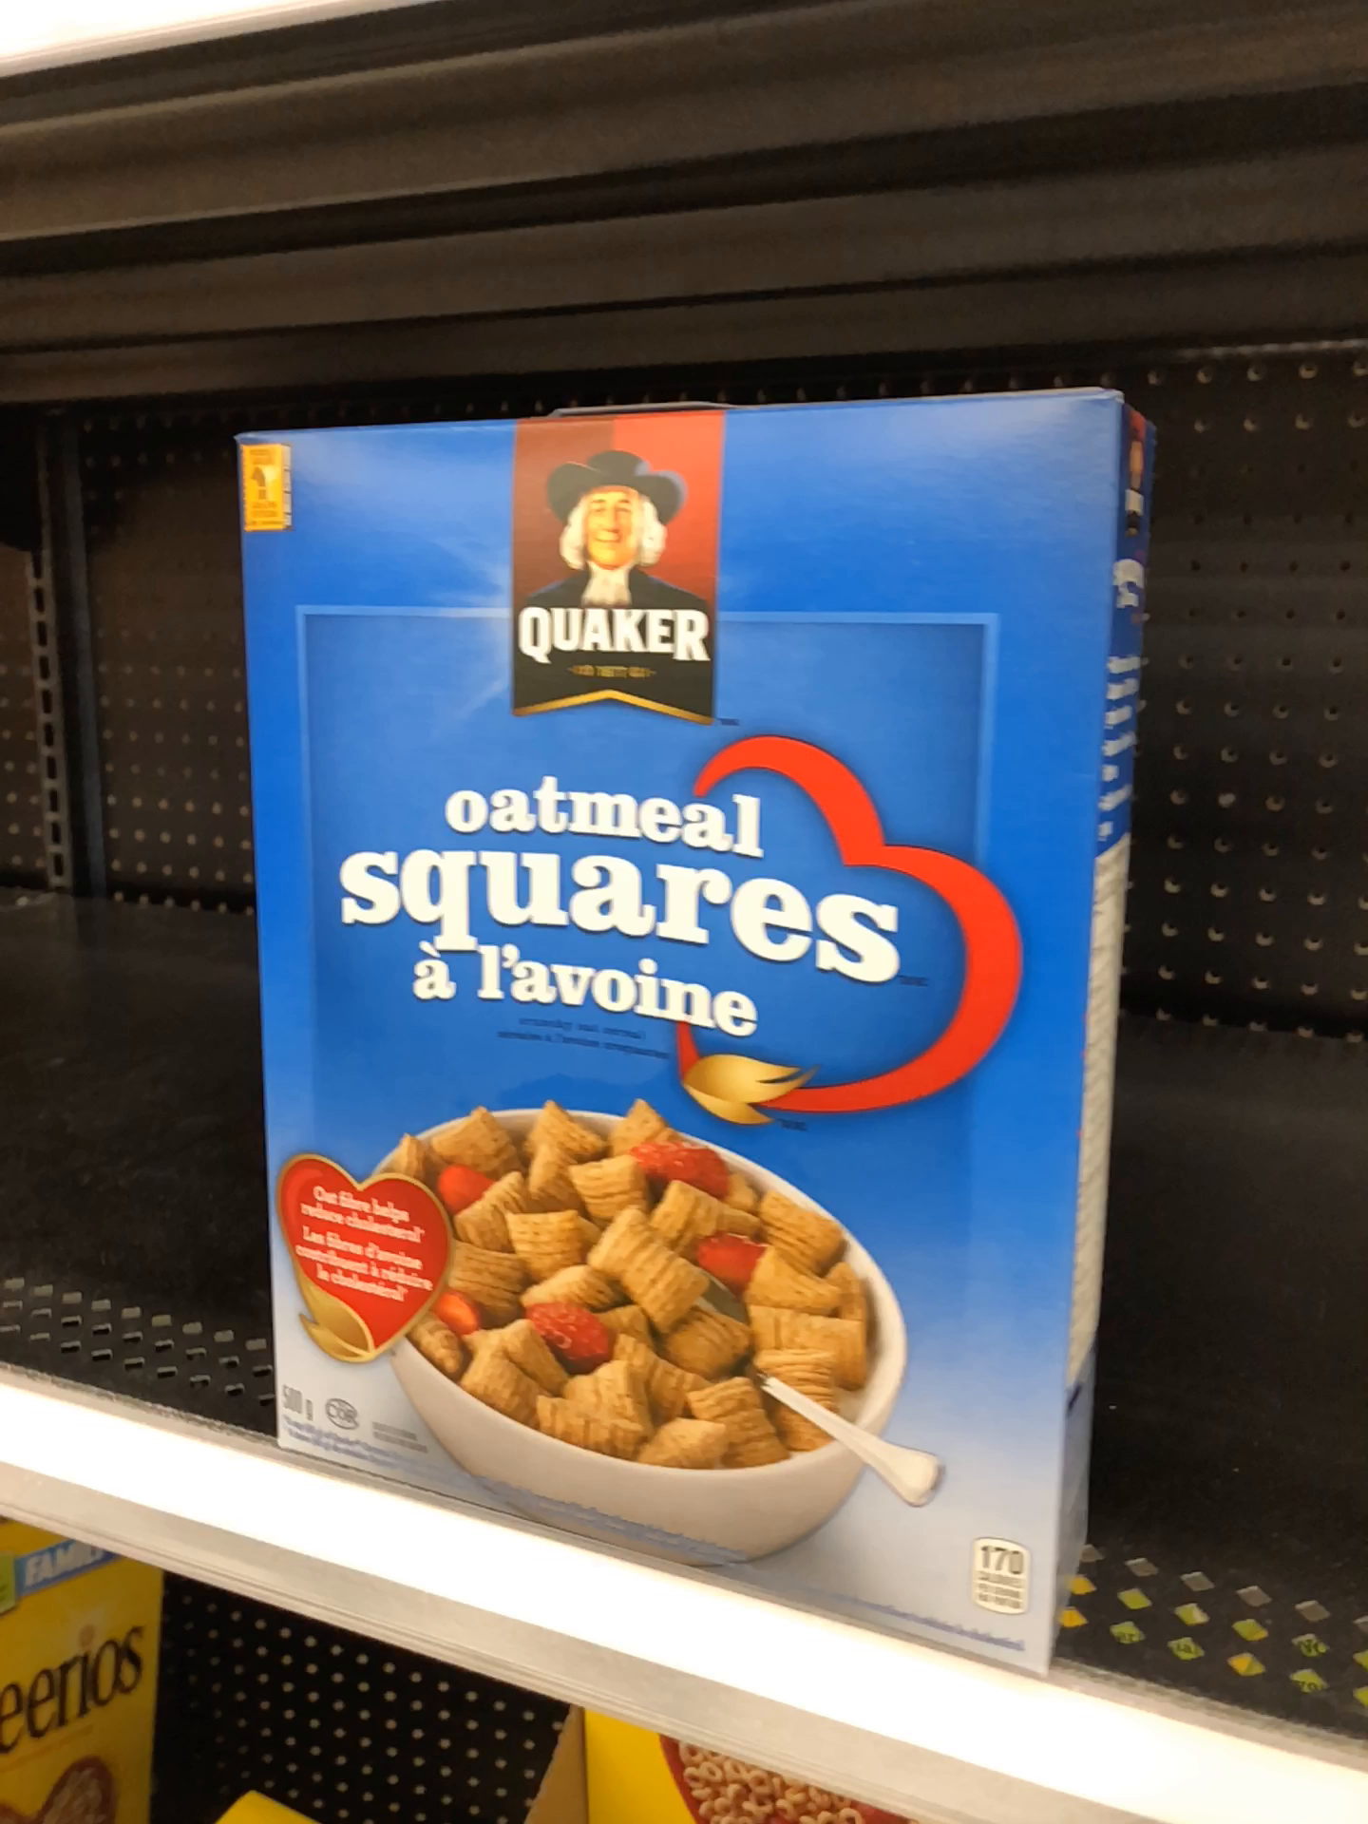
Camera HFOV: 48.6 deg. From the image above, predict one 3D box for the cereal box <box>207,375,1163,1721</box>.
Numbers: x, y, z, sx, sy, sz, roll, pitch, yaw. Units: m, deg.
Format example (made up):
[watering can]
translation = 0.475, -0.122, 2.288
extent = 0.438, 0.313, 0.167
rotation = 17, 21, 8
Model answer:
[cereal box]
translation = -0.006, 0.023, 0.371
extent = 0.210, 0.279, 0.060
rotation = 6, 13, 23
